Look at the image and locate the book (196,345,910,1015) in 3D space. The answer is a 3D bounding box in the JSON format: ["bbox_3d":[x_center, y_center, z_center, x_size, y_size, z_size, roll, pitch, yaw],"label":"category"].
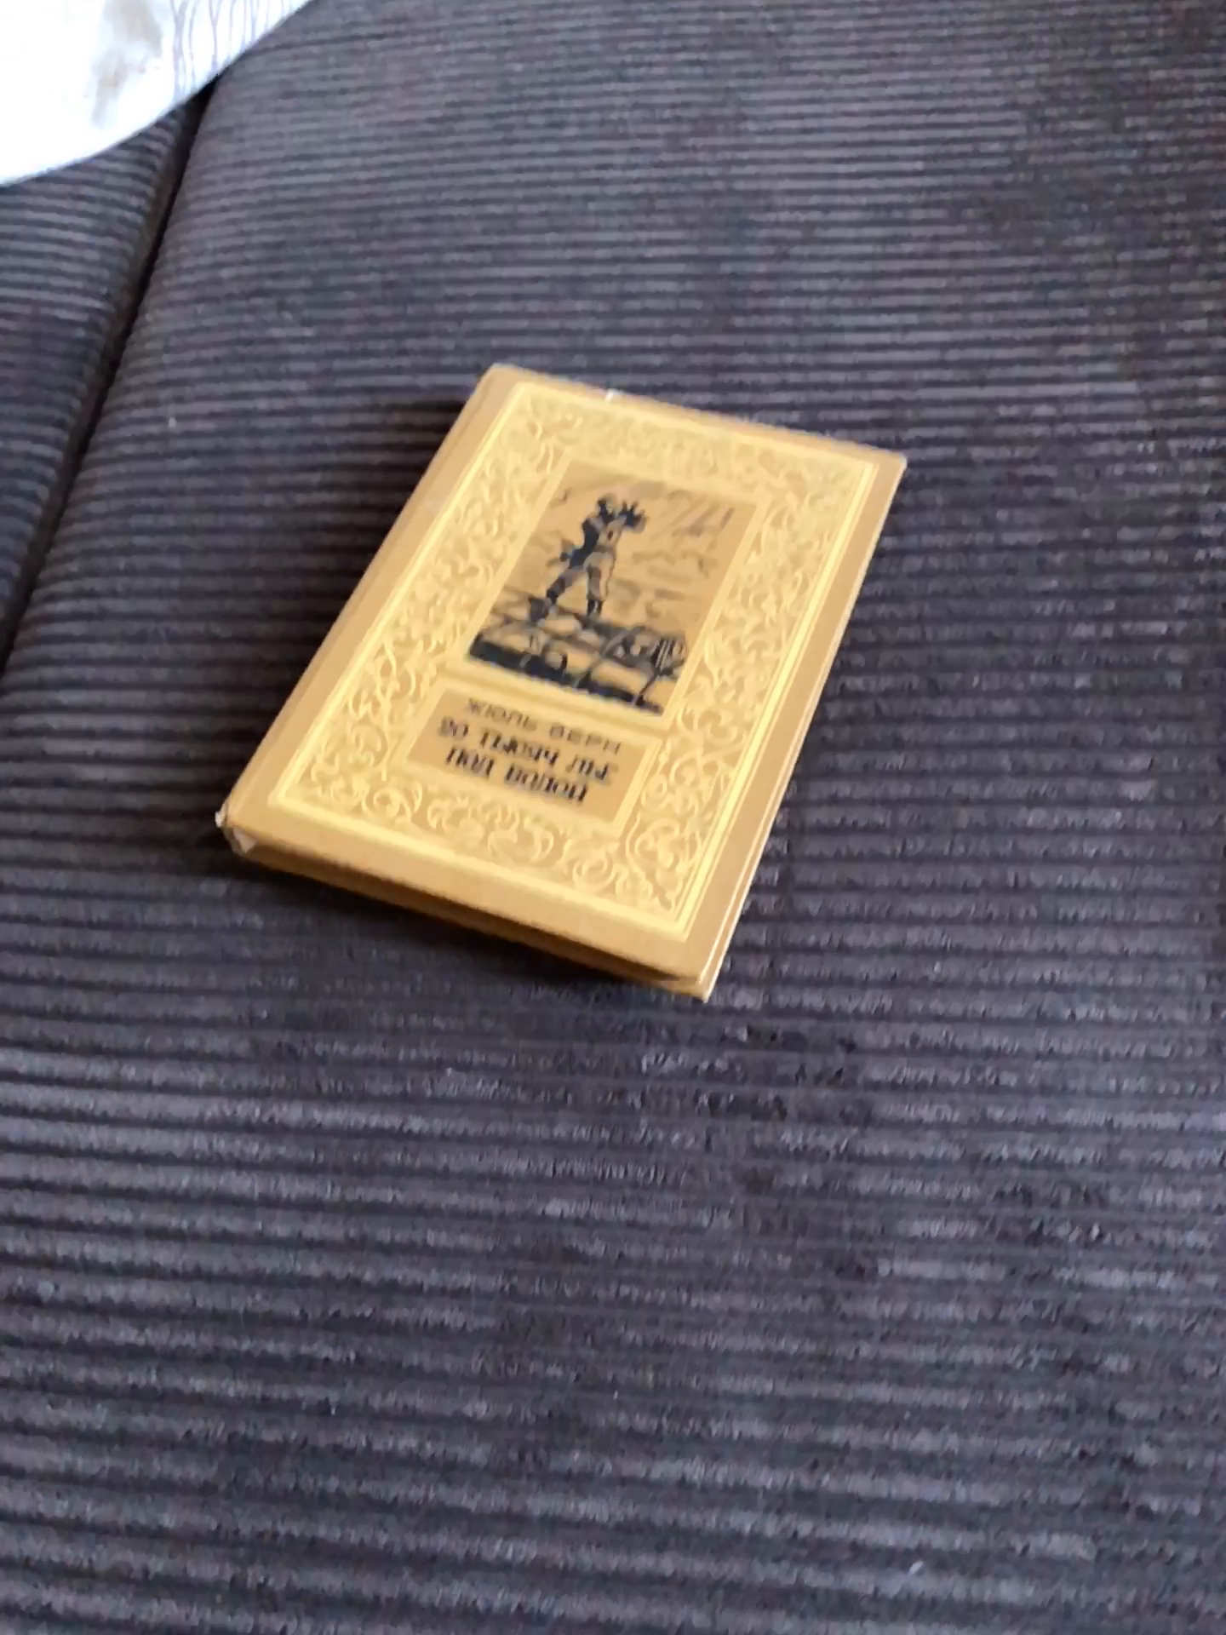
[{"bbox_3d":[-0.011,-0.061,0.465,0.170,0.029,0.220,17,62,13],"label":"book"}]
